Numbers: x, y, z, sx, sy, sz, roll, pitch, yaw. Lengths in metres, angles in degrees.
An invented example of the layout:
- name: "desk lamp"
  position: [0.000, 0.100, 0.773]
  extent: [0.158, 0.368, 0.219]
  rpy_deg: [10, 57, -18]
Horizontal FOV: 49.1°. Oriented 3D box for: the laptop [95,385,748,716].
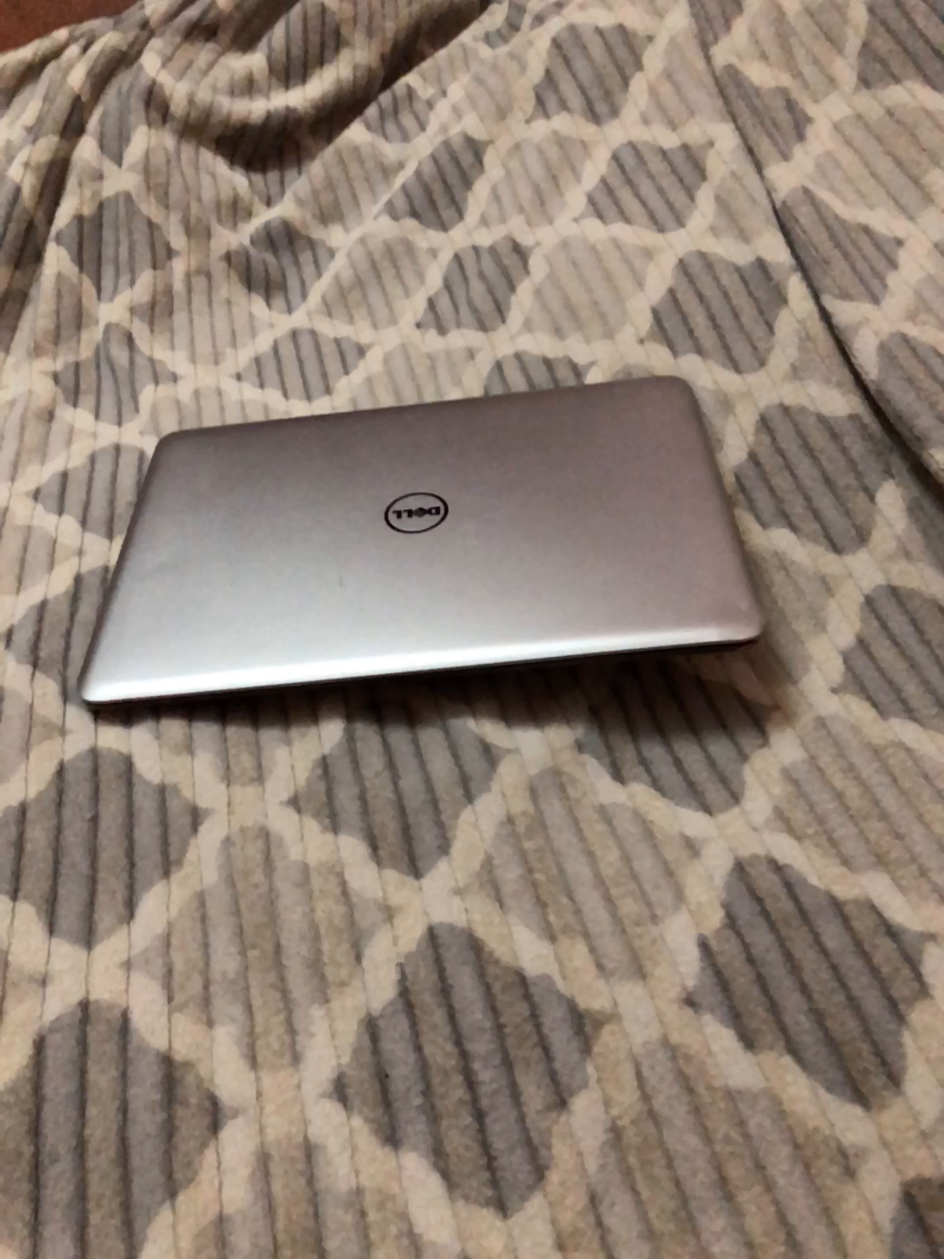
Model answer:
- name: "laptop"
  position: [-0.035, -0.062, 0.653]
  extent: [0.359, 0.007, 0.253]
  rpy_deg: [-6, 46, 3]
